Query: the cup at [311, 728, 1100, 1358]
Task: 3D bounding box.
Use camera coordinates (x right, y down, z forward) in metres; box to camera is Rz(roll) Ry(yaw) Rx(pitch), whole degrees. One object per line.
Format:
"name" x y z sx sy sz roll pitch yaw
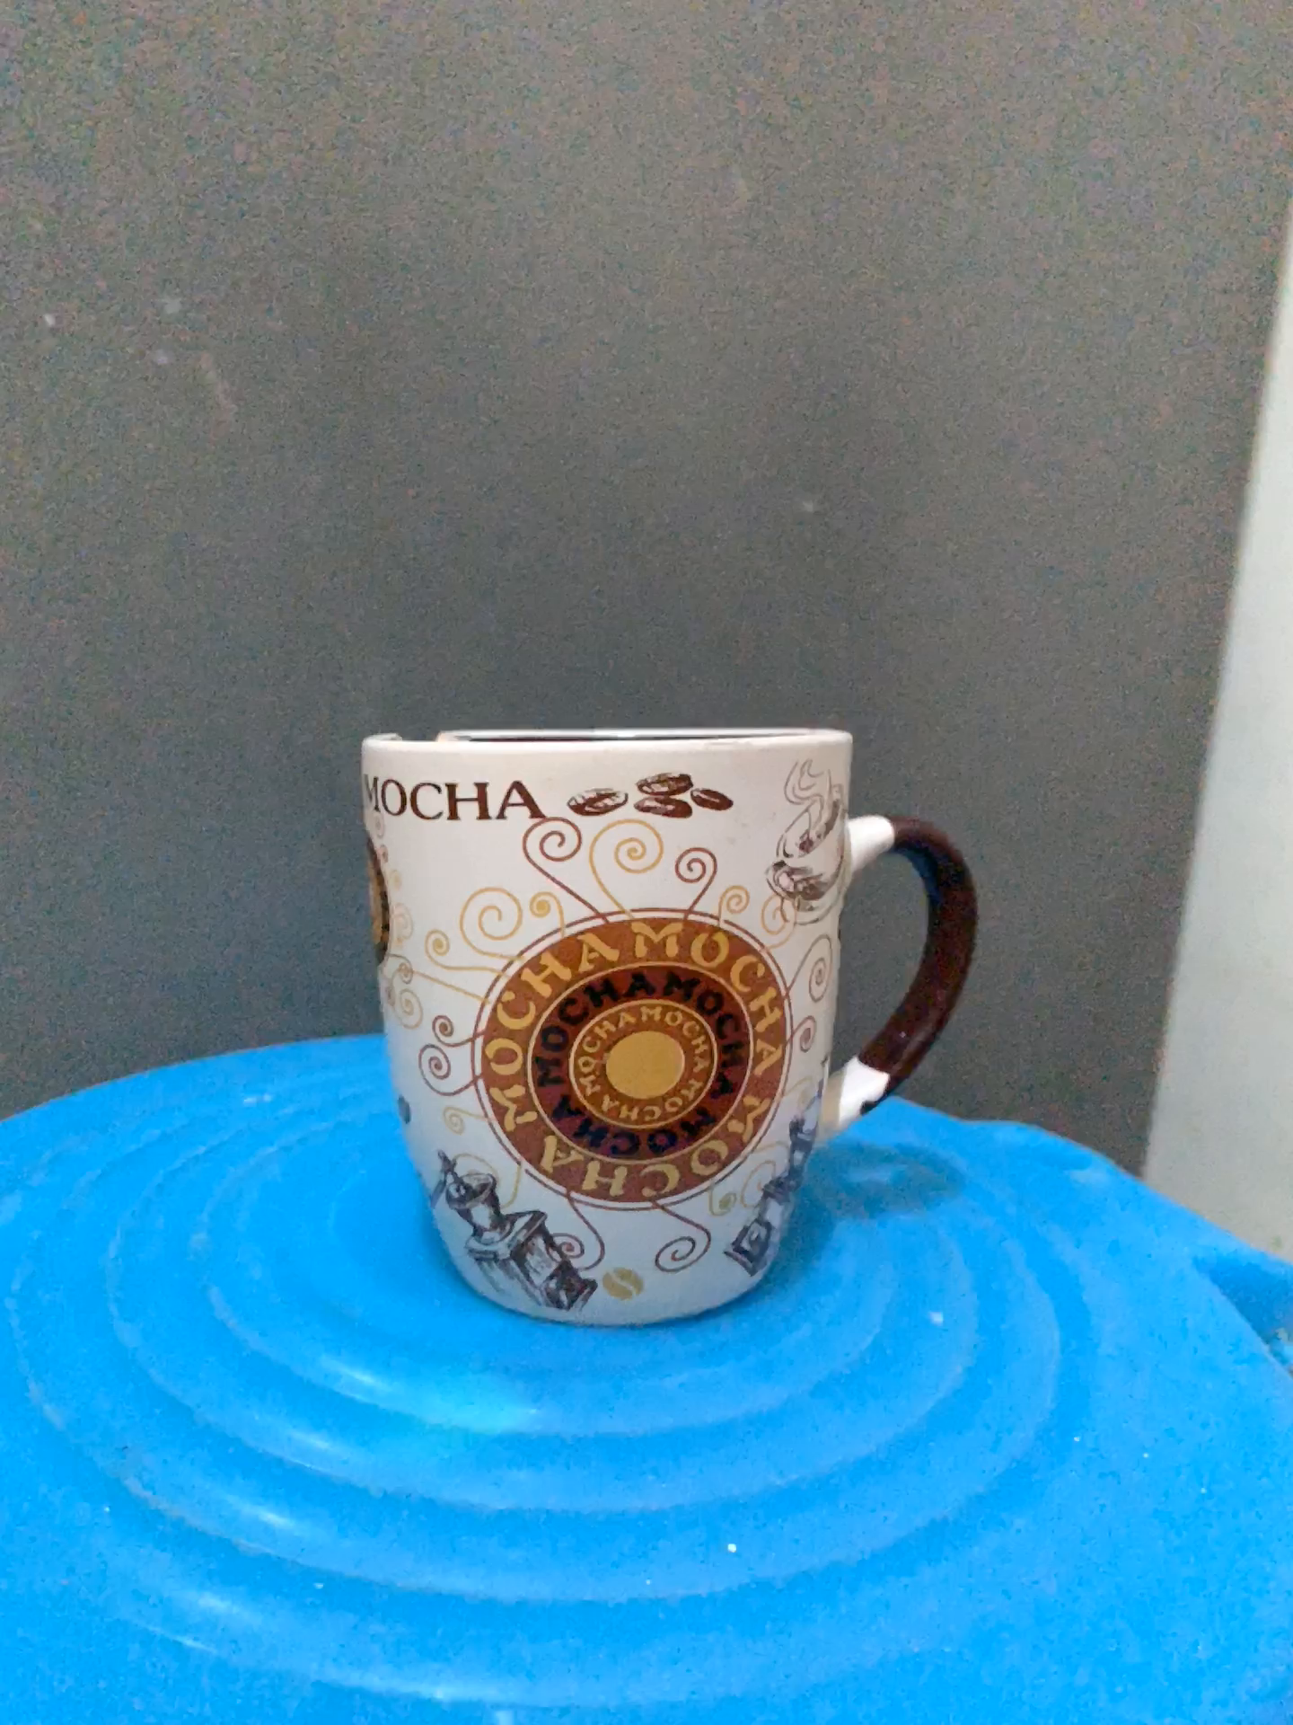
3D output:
"cup" 0.002 0.019 0.226 0.110 0.080 0.080 -1 7 -14
